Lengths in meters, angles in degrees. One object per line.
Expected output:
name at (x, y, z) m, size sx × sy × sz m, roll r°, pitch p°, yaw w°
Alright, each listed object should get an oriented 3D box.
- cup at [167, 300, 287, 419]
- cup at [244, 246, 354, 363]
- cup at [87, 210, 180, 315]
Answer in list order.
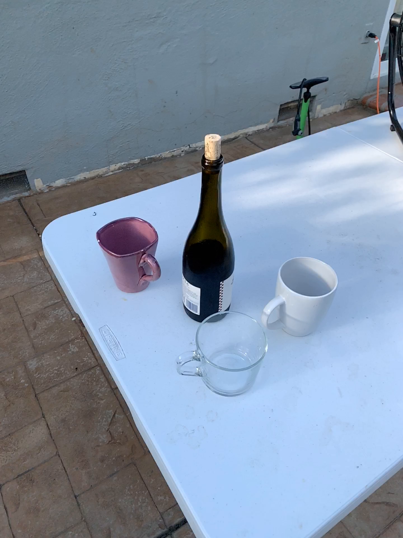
cup at (0.033, 0.124, 0.583) m, size 0.130 × 0.080 × 0.101 m, roll -17°, pitch 45°, yaw -18°
cup at (0.151, 0.055, 0.665) m, size 0.130 × 0.119 × 0.090 m, roll -23°, pitch 47°, yaw -24°
cup at (-0.116, -0.015, 0.719) m, size 0.100 × 0.099 × 0.131 m, roll -26°, pitch 48°, yaw -26°
